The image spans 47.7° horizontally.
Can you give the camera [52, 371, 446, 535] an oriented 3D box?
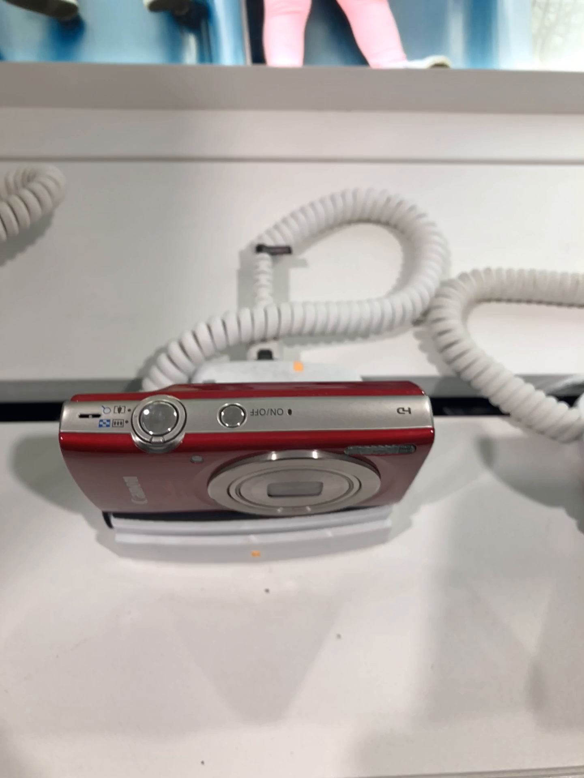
[{"bbox_3d":[-0.011,0.019,0.182,0.093,0.050,0.022,-2,59,-3],"label":"camera"}]
